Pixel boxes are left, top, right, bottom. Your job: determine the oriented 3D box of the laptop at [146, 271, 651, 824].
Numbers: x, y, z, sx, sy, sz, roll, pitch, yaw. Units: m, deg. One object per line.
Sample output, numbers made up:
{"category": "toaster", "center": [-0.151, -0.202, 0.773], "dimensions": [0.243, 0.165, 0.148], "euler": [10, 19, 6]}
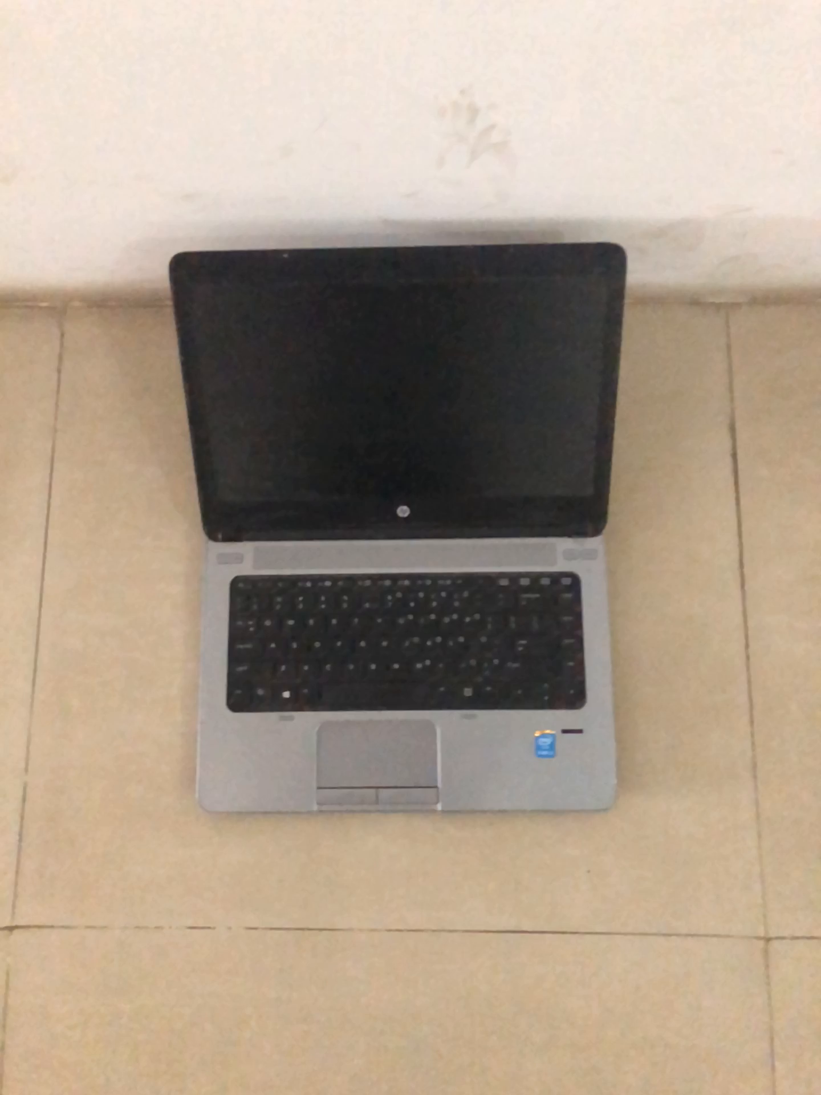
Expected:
{"category": "laptop", "center": [-0.006, 0.001, 0.683], "dimensions": [0.318, 0.146, 0.385], "euler": [0, 77, 1]}
